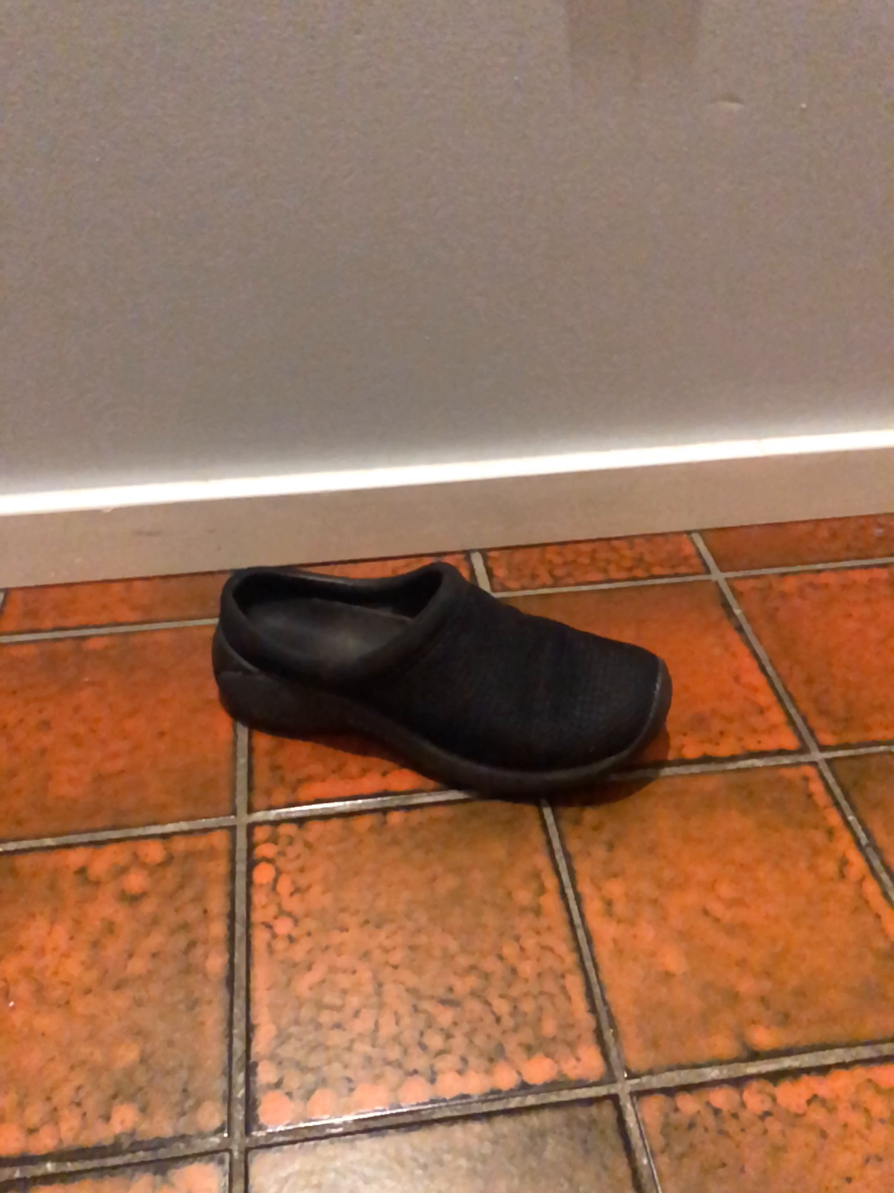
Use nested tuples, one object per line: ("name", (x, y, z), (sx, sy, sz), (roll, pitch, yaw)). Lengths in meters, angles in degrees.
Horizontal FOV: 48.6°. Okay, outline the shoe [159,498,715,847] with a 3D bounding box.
("shoe", (-0.003, 0.032, 0.504), (0.250, 0.080, 0.100), (12, 42, 12))
